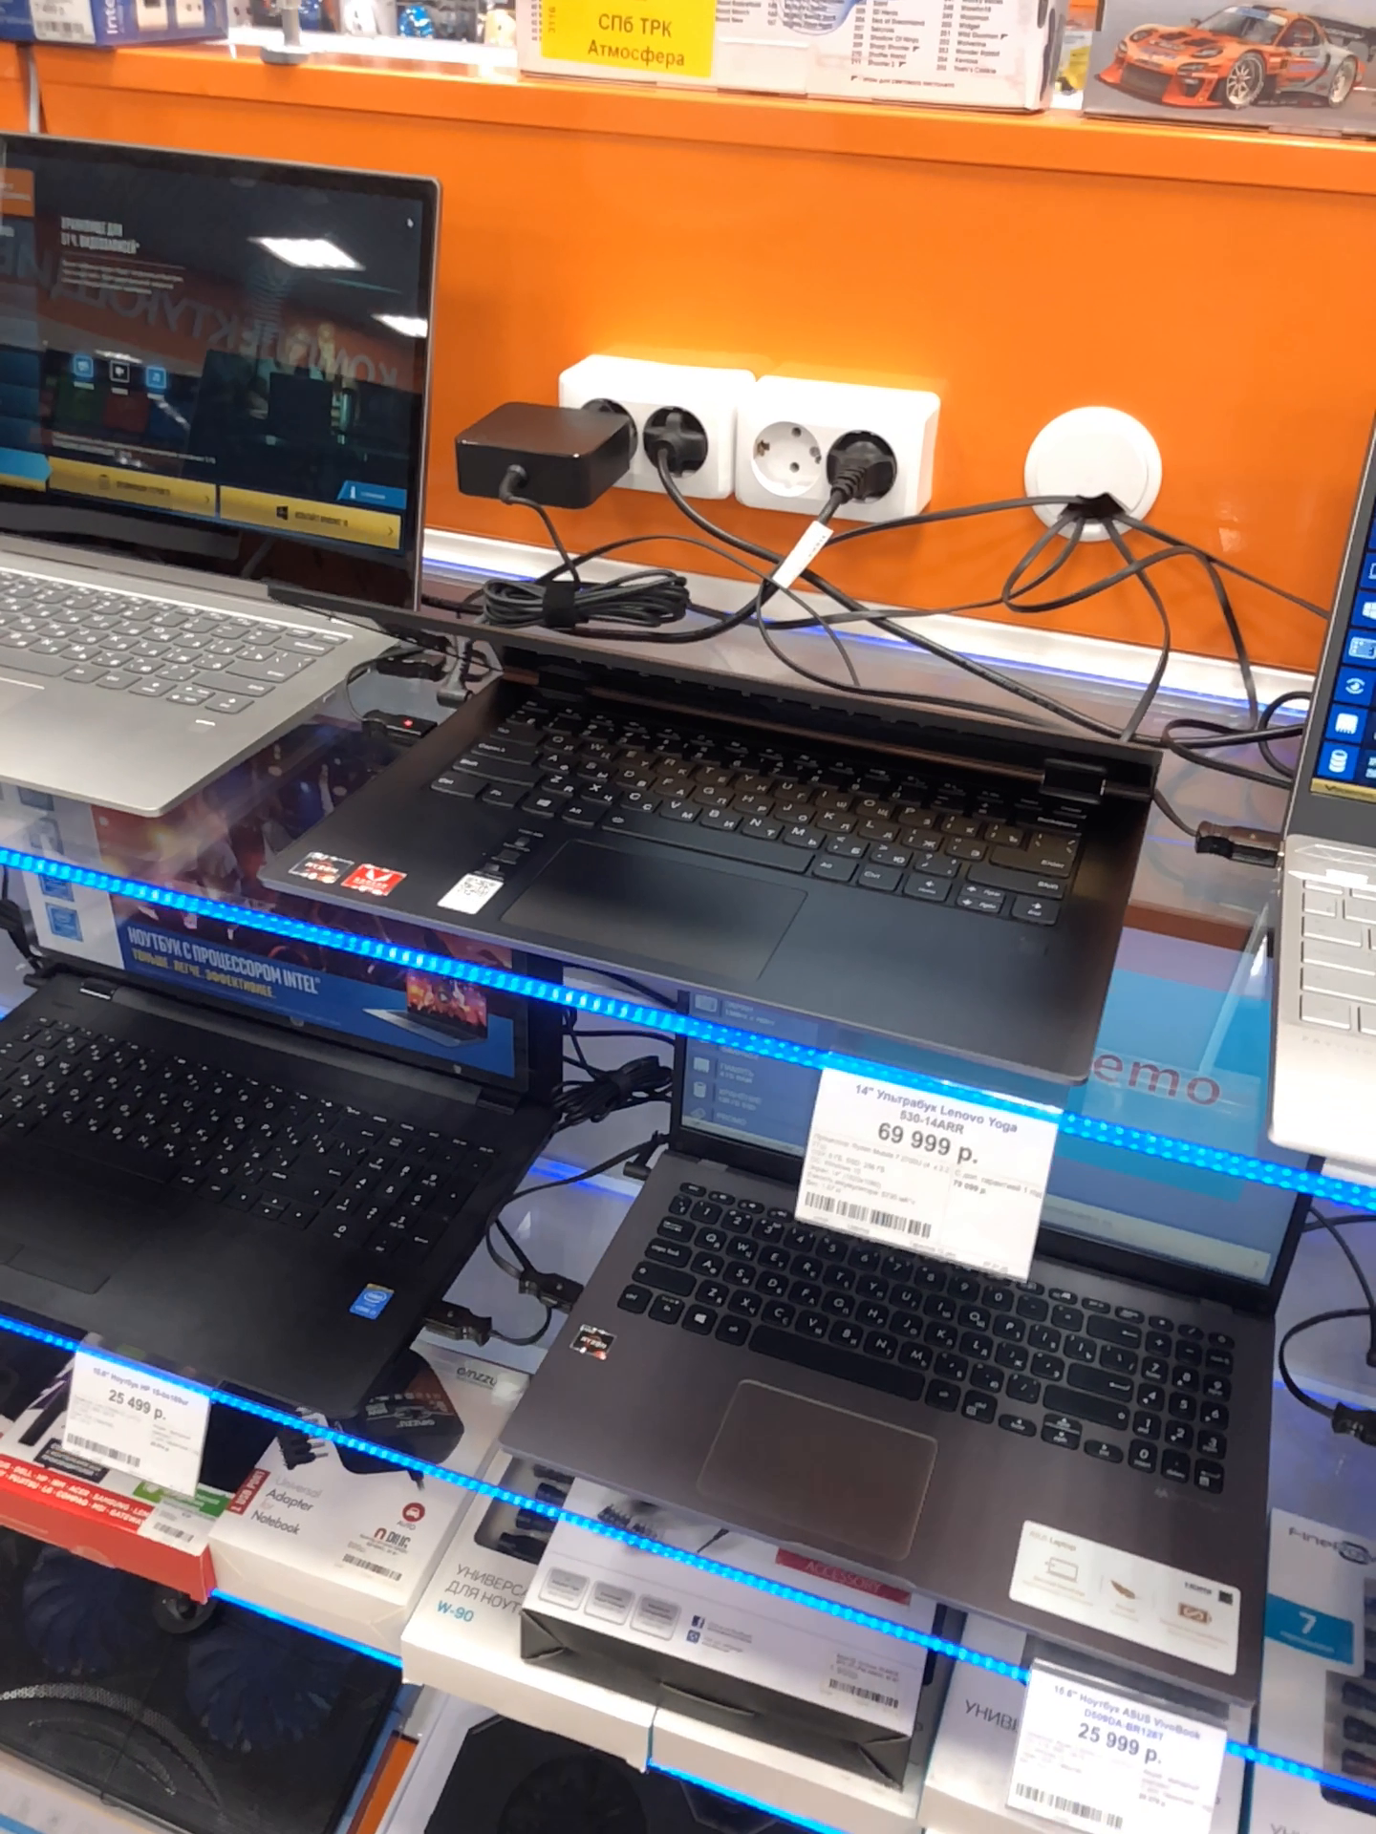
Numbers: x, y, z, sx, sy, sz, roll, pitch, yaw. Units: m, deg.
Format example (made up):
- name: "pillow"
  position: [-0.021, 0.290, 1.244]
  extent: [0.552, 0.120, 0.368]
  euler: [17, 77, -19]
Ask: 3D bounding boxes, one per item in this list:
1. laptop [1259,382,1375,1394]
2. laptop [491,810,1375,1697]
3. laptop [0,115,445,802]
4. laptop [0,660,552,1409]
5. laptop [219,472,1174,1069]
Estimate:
- name: "laptop"
  position: [0.383, -0.052, 0.531]
  extent: [0.283, 0.162, 0.318]
  euler: [12, 36, 19]
- name: "laptop"
  position: [0.123, 0.139, 0.749]
  extent: [0.353, 0.236, 0.257]
  euler: [13, 34, 17]
- name: "laptop"
  position: [-0.338, -0.244, 0.744]
  extent: [0.311, 0.219, 0.268]
  euler: [14, 35, 15]
- name: "laptop"
  position: [-0.302, 0.043, 0.860]
  extent: [0.373, 0.223, 0.266]
  euler: [13, 34, 15]
- name: "laptop"
  position: [0.014, -0.081, 0.625]
  extent: [0.324, 0.102, 0.215]
  euler: [13, 35, 16]
